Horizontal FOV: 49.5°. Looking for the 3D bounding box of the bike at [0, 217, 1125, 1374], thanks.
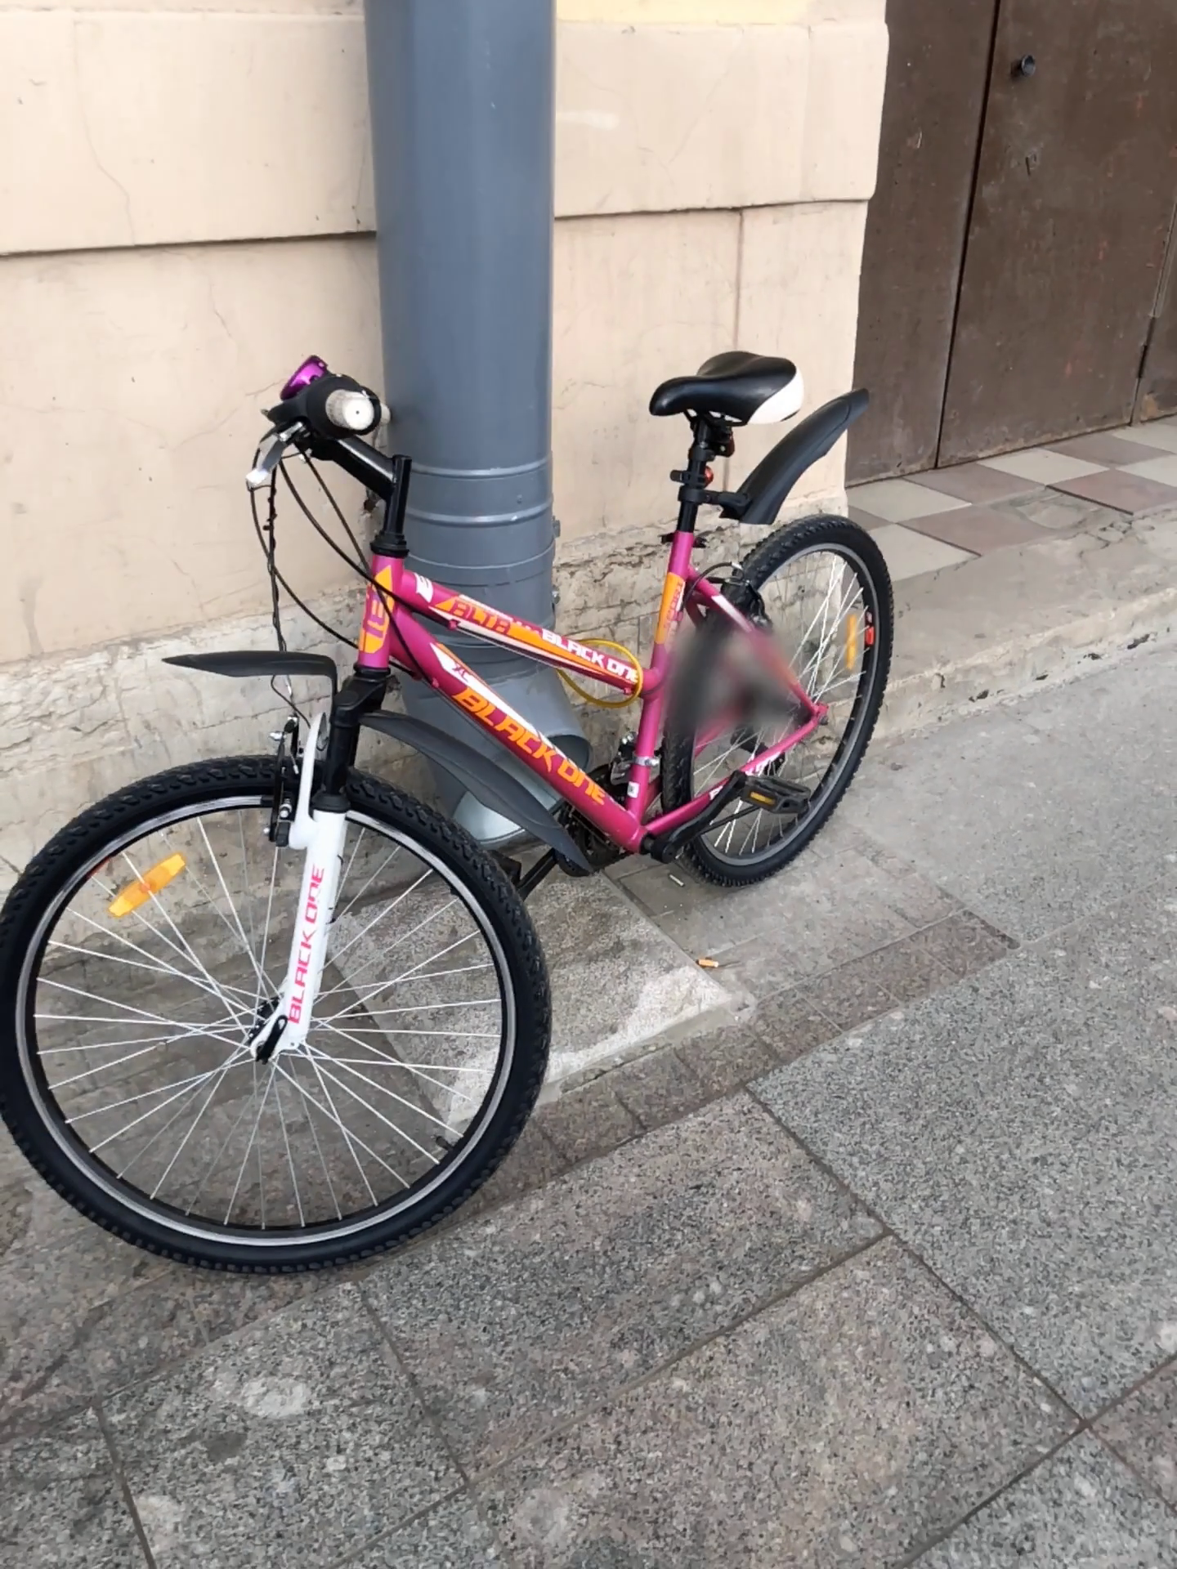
[{"bbox_3d":[-0.091,-0.151,1.783,1.577,0.974,0.624,-24,38,-34],"label":"bike"}]
